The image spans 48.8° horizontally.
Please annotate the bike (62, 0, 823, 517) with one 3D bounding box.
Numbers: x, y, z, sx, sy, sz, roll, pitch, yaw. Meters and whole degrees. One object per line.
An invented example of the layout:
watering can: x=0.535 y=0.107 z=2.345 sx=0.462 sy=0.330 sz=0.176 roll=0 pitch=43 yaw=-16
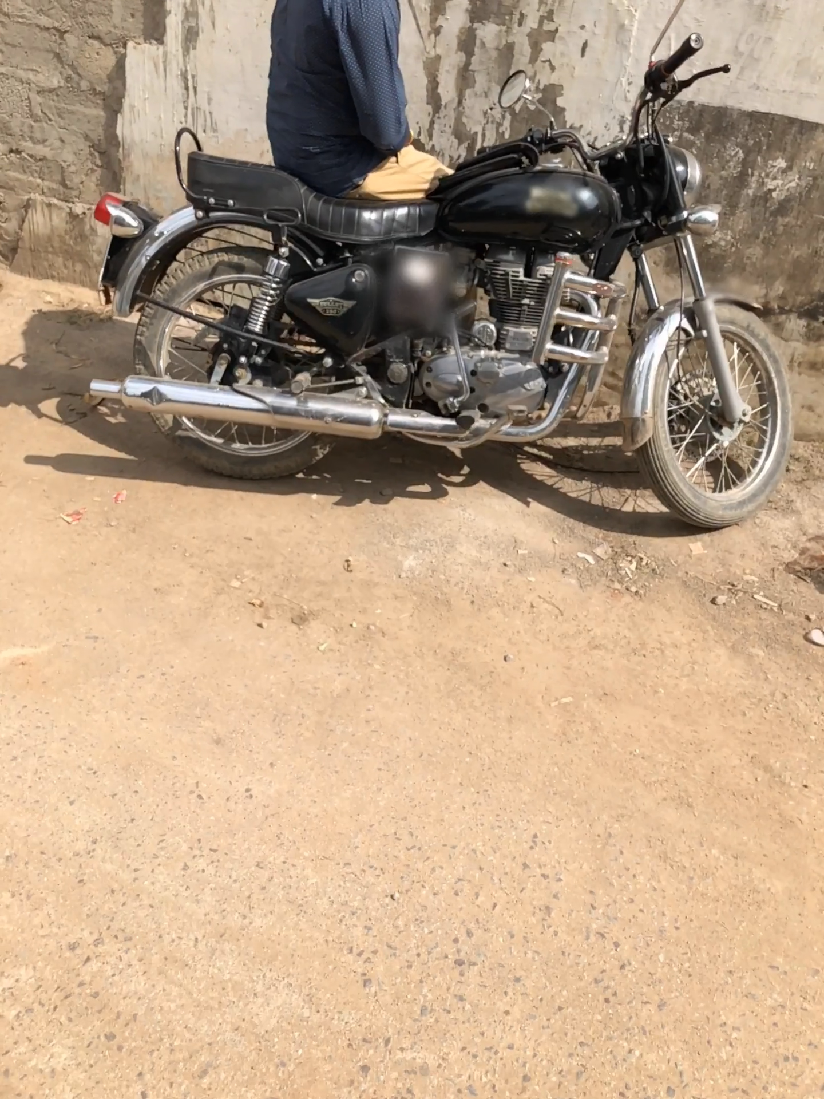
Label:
bike: x=0.202 y=-0.911 z=2.640 sx=1.931 sy=1.316 sz=0.887 roll=3 pitch=34 yaw=-3
